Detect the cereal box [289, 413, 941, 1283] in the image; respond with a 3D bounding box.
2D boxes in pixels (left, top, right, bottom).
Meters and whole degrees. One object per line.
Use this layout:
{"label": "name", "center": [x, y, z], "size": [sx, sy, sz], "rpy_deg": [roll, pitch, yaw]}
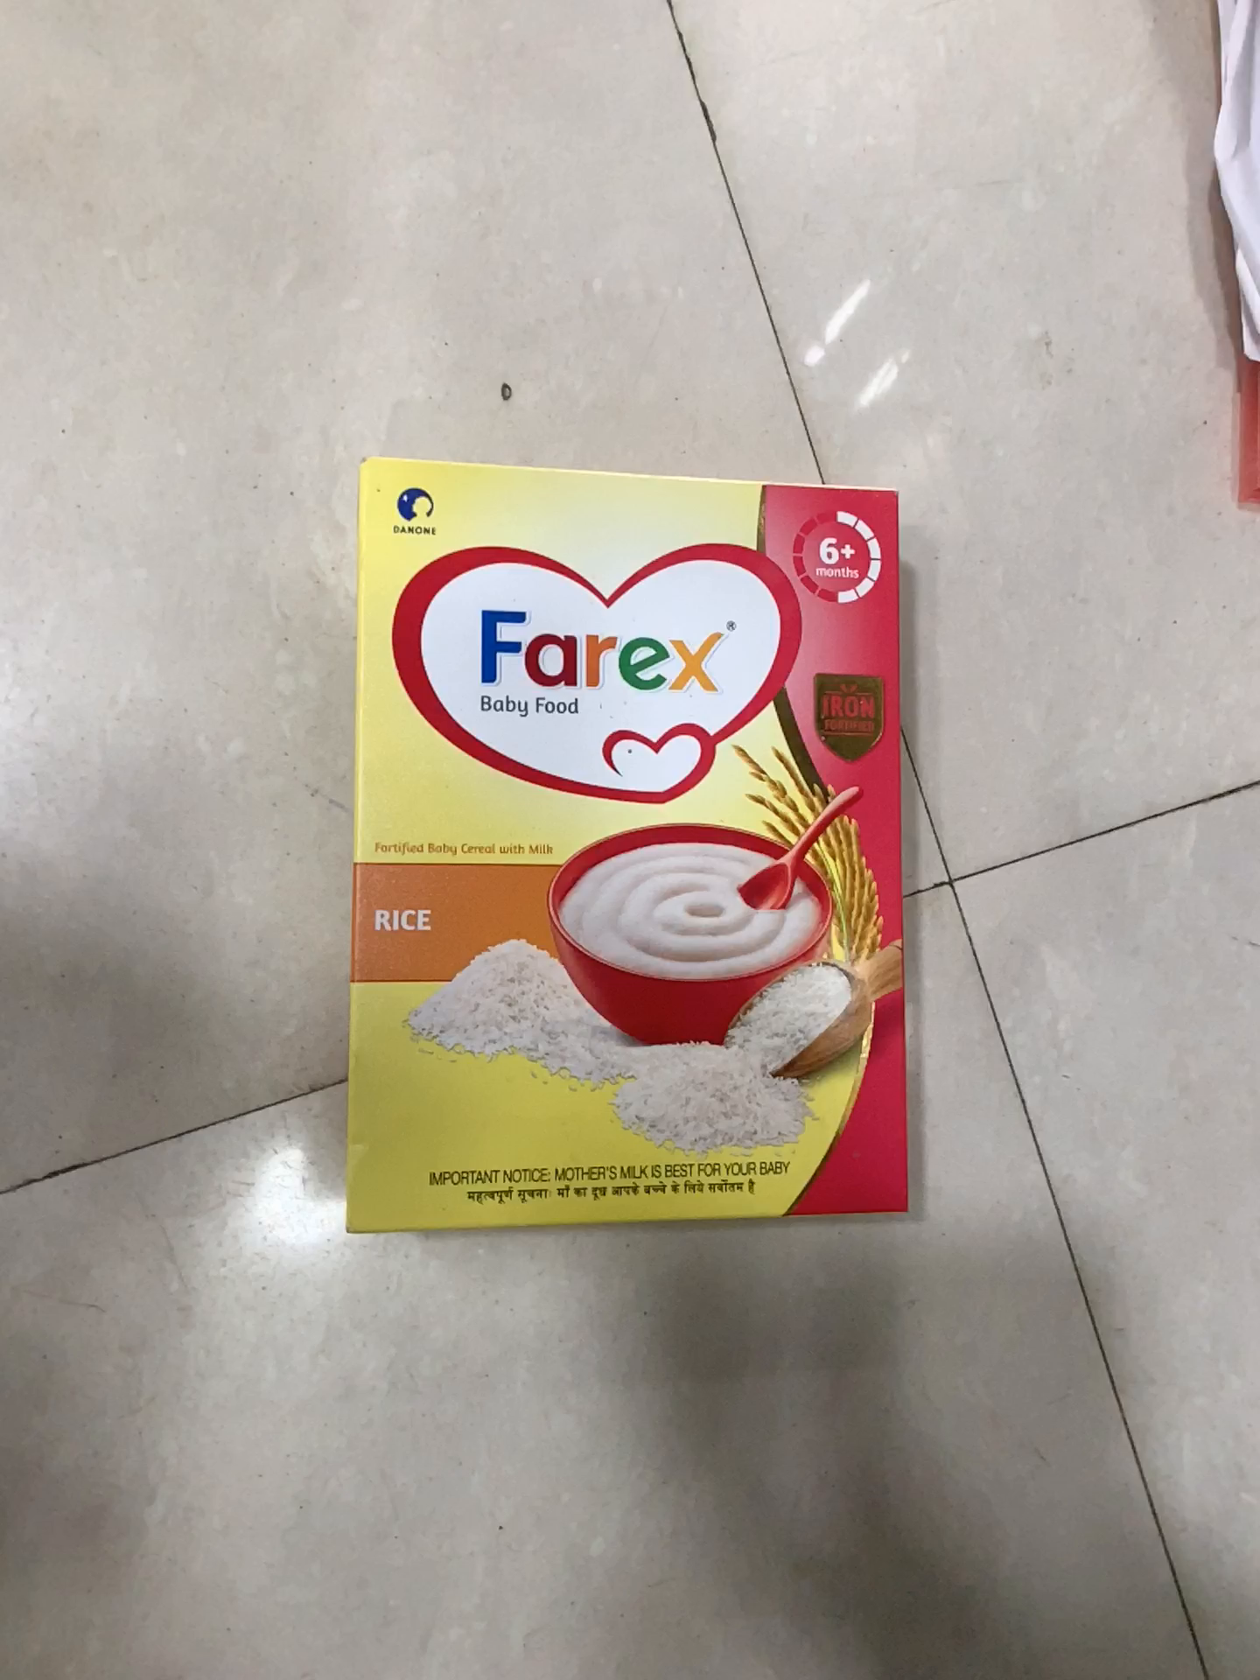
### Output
{"label": "cereal box", "center": [-0.006, 0.002, 0.354], "size": [0.160, 0.060, 0.210], "rpy_deg": [1, 84, -10]}
